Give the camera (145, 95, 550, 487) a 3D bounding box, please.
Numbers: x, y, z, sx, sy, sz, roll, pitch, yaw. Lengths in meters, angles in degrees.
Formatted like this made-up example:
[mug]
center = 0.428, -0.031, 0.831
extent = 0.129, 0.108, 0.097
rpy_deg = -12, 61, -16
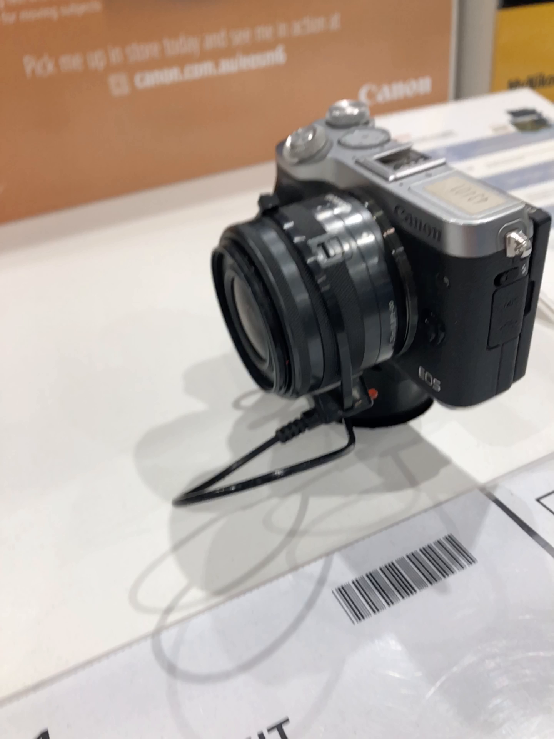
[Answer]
[camera]
center = 0.018, -0.035, 0.214
extent = 0.083, 0.075, 0.103
rpy_deg = -21, 39, -16
